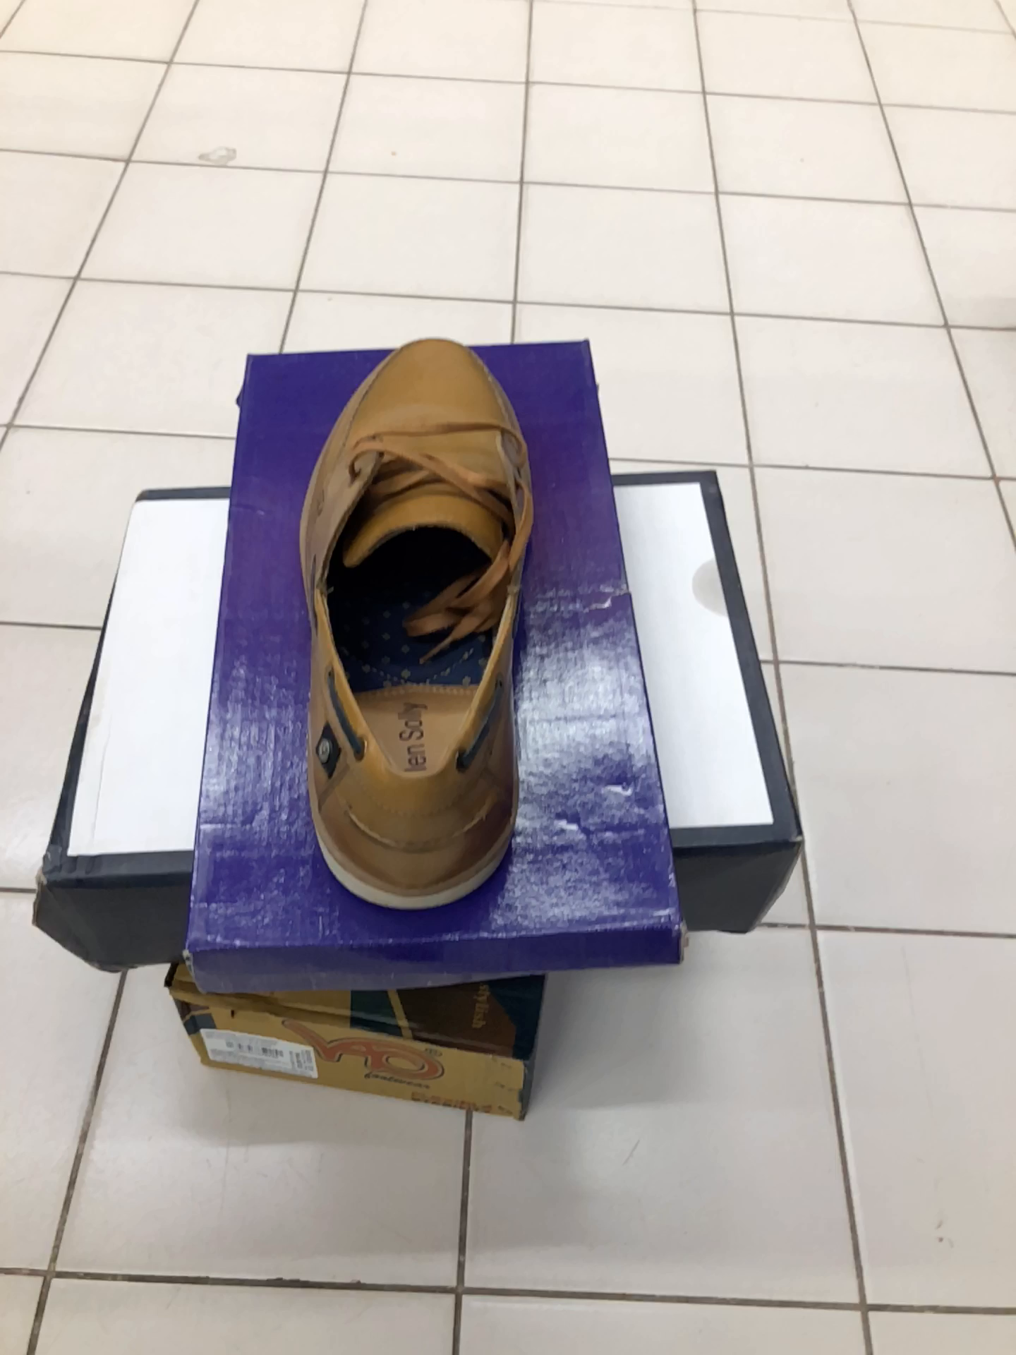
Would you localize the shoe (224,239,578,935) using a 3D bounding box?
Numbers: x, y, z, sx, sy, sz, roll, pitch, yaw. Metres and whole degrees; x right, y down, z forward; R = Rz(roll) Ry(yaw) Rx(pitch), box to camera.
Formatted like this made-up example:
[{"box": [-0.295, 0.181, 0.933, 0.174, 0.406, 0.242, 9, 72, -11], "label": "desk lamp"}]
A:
[{"box": [-0.036, -0.045, 0.440, 0.100, 0.109, 0.261, 1, 54, -3], "label": "shoe"}]
